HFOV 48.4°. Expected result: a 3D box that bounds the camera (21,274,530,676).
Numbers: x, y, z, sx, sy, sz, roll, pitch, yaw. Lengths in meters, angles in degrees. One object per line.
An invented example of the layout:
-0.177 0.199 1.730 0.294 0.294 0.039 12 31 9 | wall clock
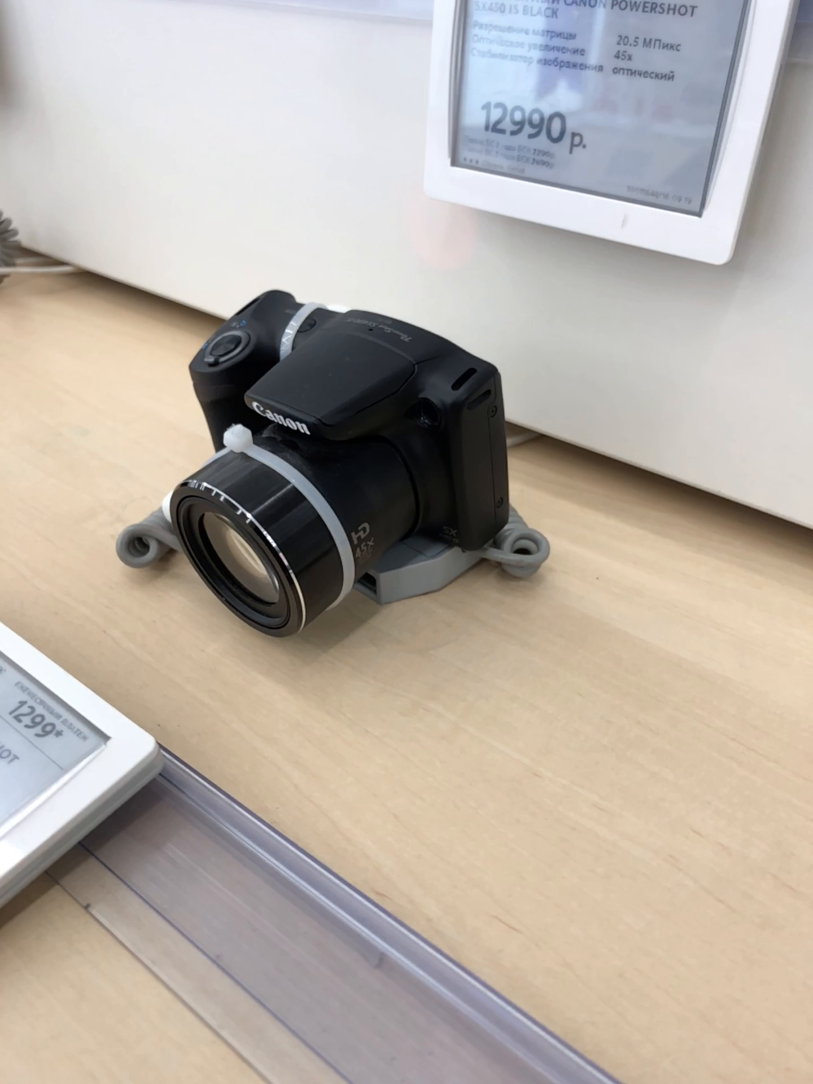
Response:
-0.038 -0.031 0.283 0.117 0.062 0.093 23 38 28 | camera
